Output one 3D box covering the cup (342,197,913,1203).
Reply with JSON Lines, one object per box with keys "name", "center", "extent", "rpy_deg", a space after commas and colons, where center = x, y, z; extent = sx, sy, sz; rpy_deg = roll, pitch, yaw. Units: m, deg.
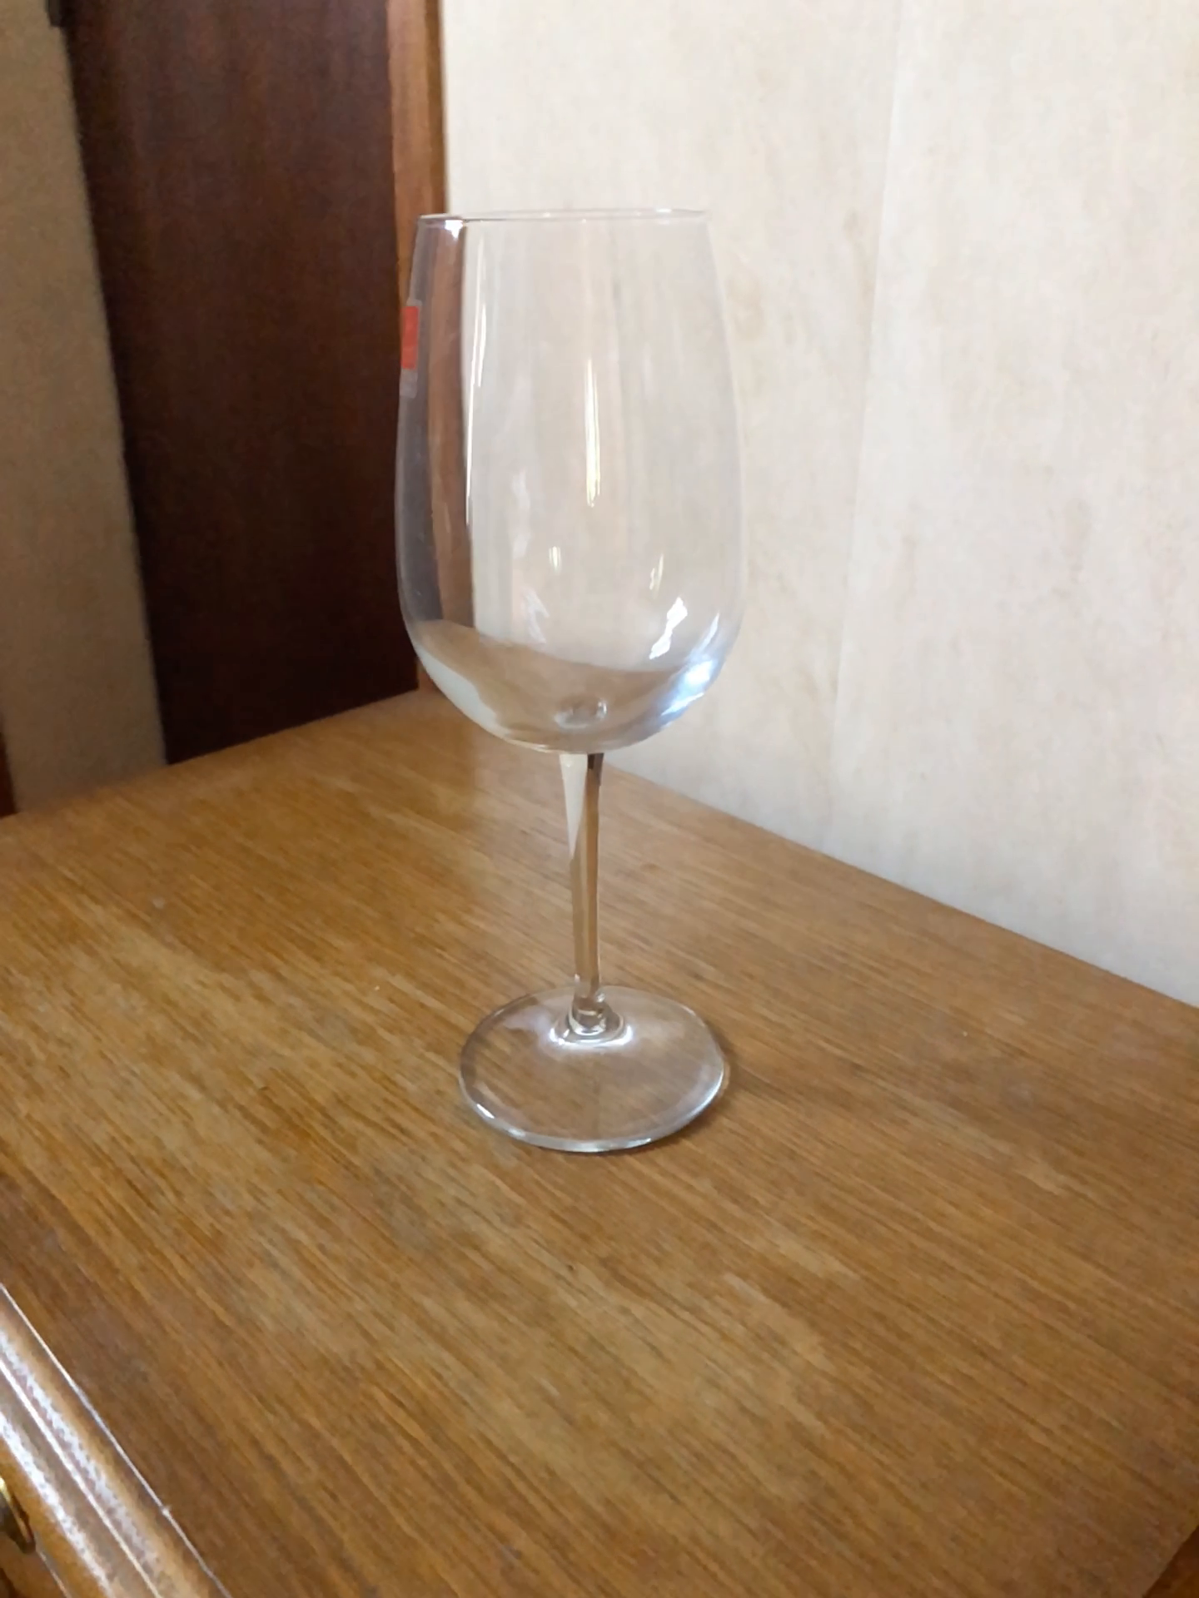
{"name": "cup", "center": [0.001, -0.028, 0.340], "extent": [0.100, 0.229, 0.090], "rpy_deg": [-8, 26, -19]}
